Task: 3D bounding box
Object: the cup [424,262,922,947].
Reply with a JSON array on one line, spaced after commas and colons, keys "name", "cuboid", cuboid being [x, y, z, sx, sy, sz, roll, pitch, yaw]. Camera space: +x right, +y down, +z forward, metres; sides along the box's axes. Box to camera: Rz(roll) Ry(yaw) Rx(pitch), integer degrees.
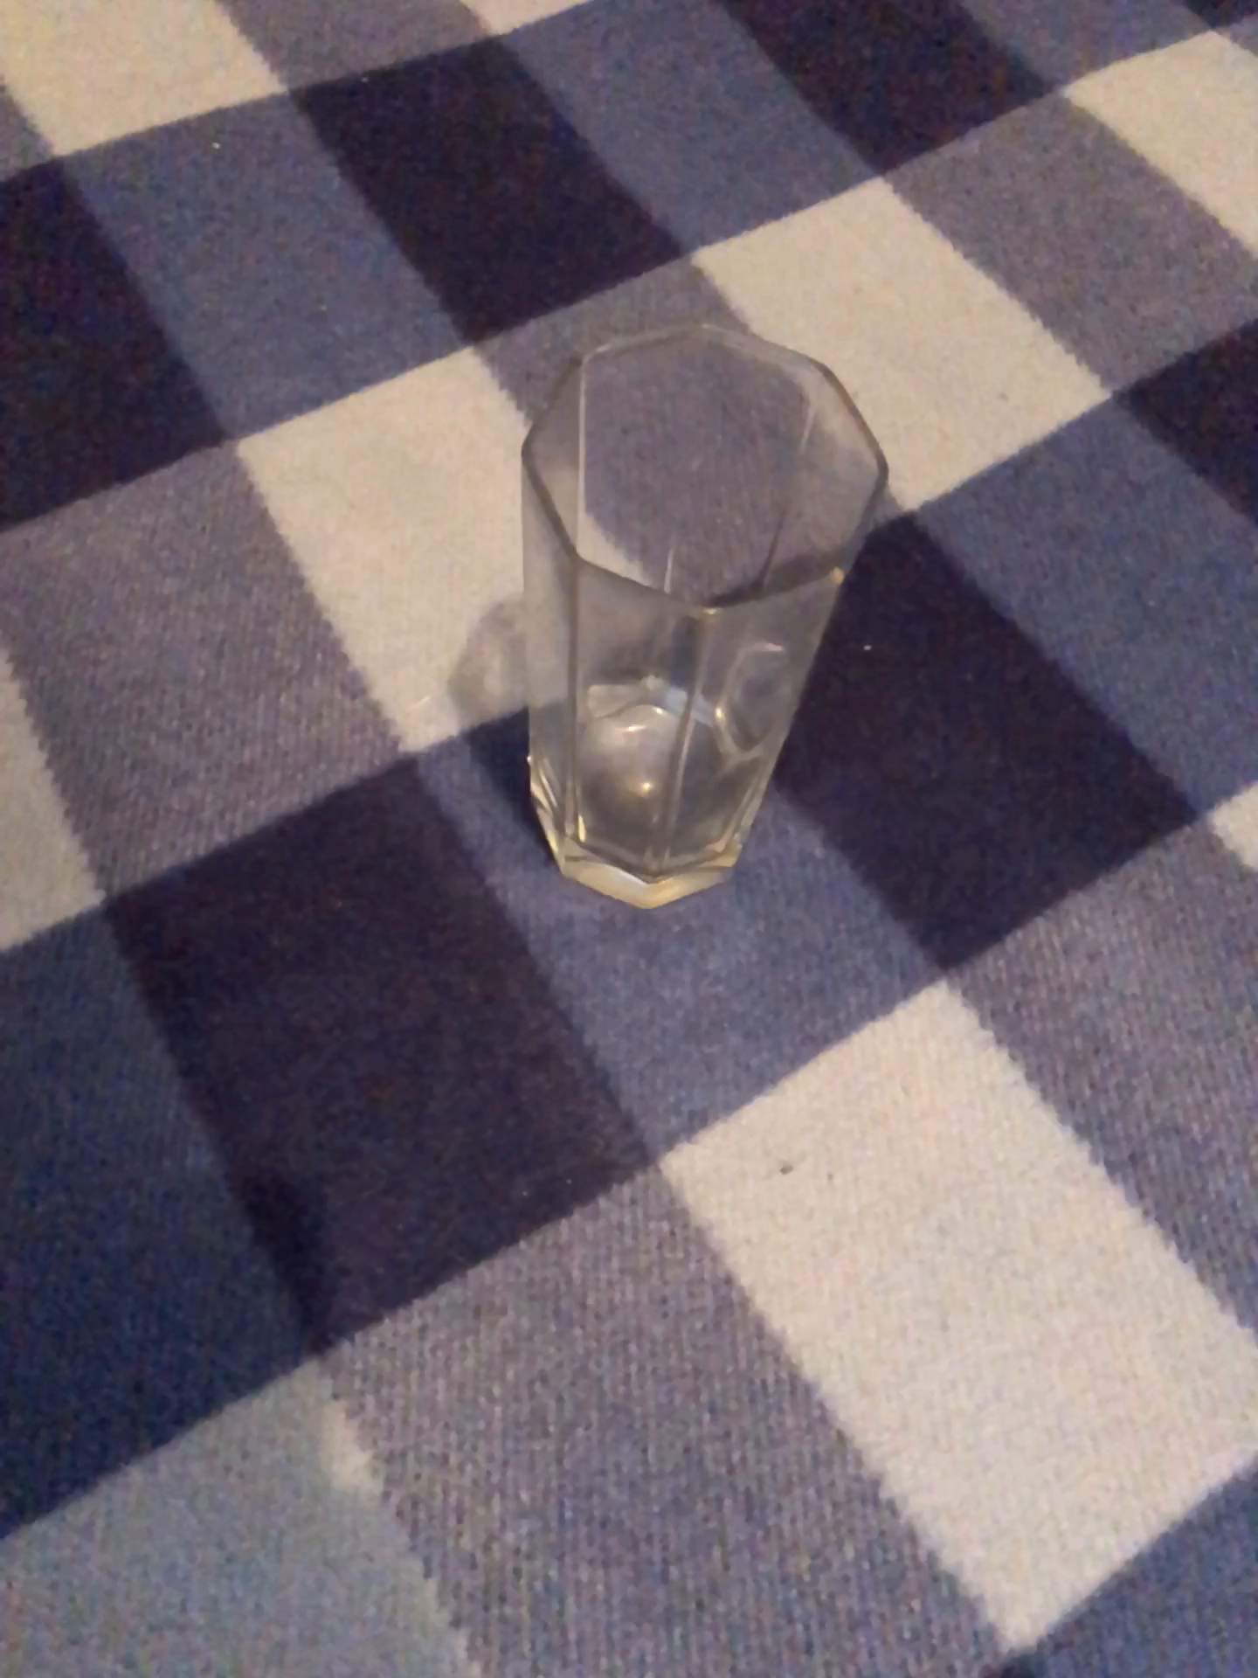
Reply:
[{"name": "cup", "cuboid": [0.007, -0.044, 0.323, 0.082, 0.137, 0.077, 2, 63, -3]}]
